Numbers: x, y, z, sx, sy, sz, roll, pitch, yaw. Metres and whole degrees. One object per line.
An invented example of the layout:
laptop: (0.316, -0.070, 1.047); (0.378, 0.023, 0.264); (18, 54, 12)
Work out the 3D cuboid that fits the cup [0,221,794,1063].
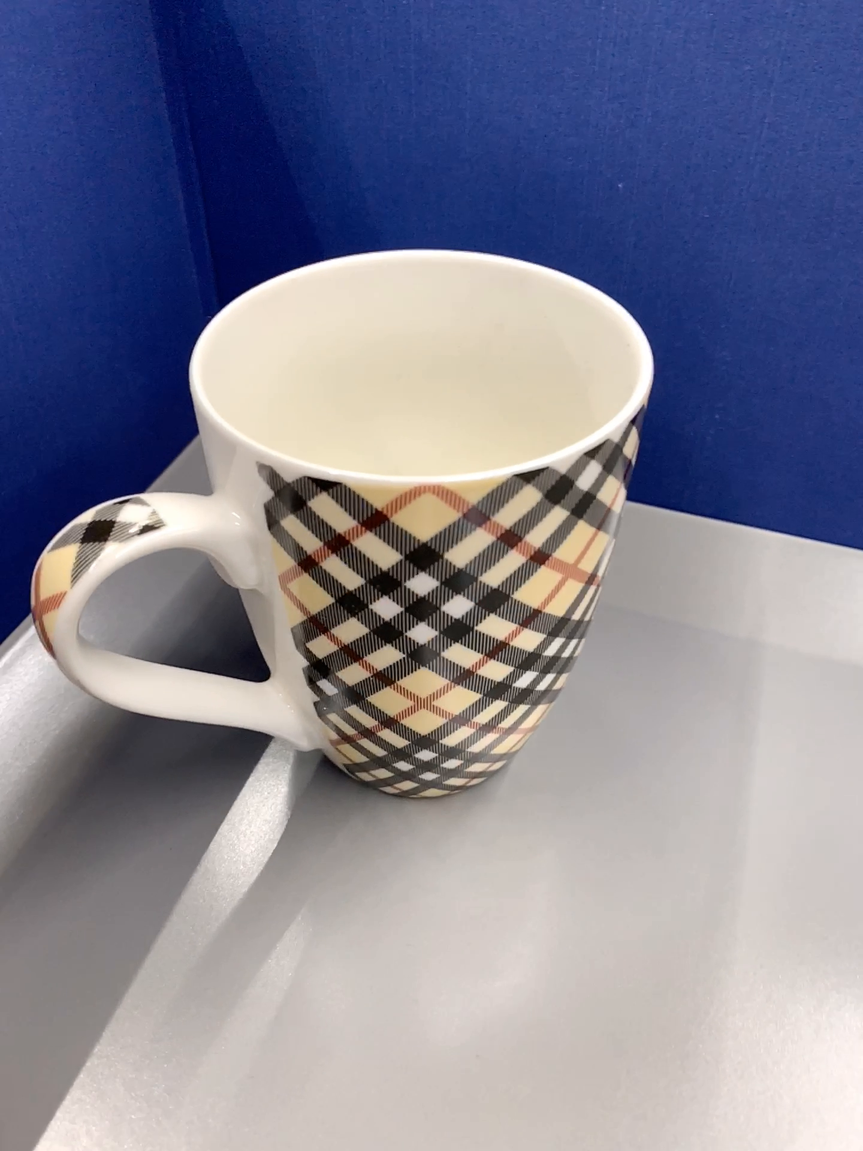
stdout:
cup: (-0.015, 0.004, 0.187); (0.121, 0.104, 0.091); (-22, 45, -25)
